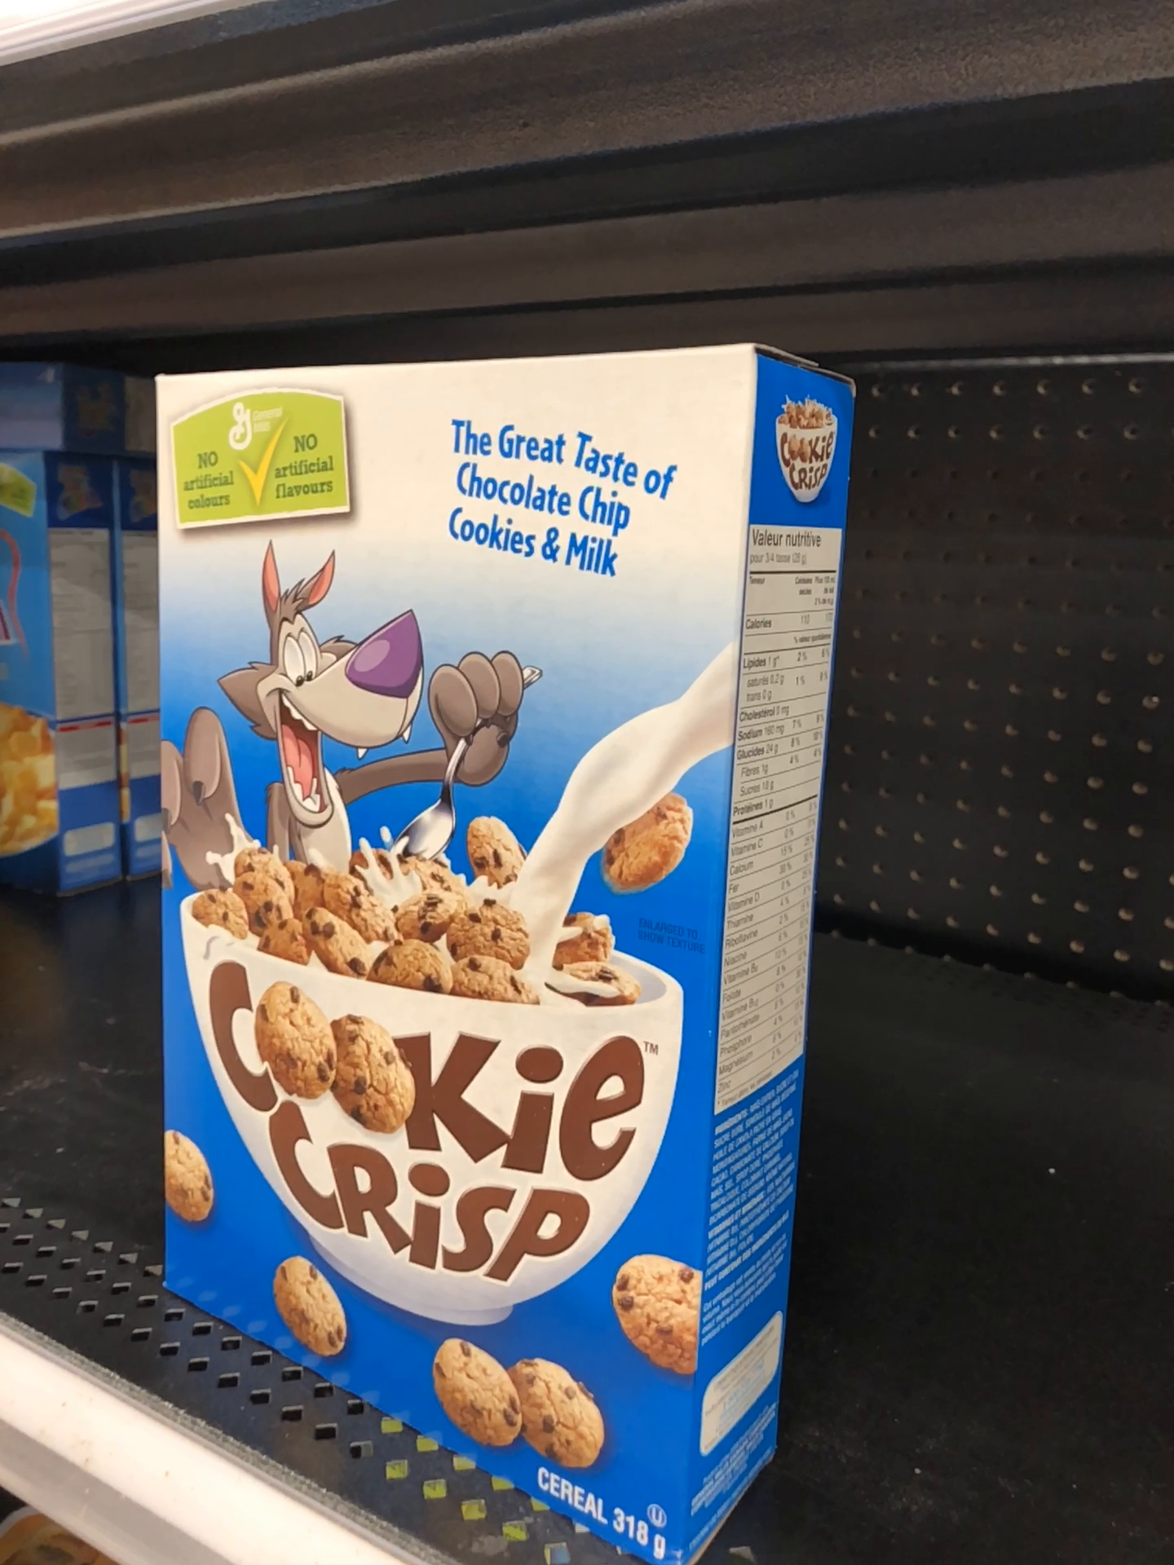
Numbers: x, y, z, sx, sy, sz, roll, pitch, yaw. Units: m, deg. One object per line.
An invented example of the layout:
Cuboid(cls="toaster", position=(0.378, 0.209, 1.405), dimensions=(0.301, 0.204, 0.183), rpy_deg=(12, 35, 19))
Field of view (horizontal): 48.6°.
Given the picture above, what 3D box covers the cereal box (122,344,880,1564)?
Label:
Cuboid(cls="cereal box", position=(-0.036, 0.035, 0.355), dimensions=(0.200, 0.279, 0.060), rpy_deg=(9, 12, 34))
